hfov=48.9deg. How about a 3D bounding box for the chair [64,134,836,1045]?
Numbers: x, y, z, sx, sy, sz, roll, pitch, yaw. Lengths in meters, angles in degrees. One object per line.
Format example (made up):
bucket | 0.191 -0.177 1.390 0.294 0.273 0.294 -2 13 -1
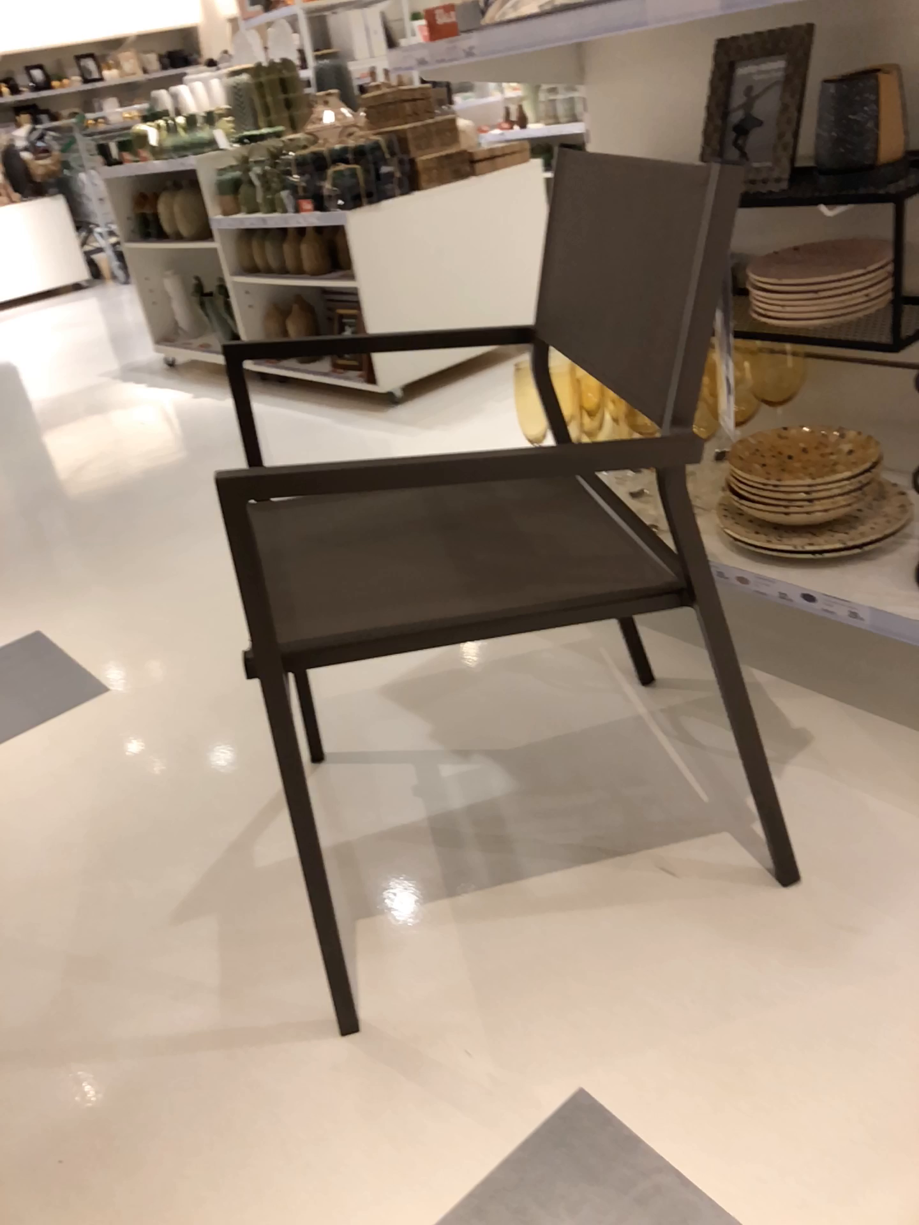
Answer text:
chair | 0.015 -0.073 1.164 0.580 0.764 0.574 -13 27 -5
